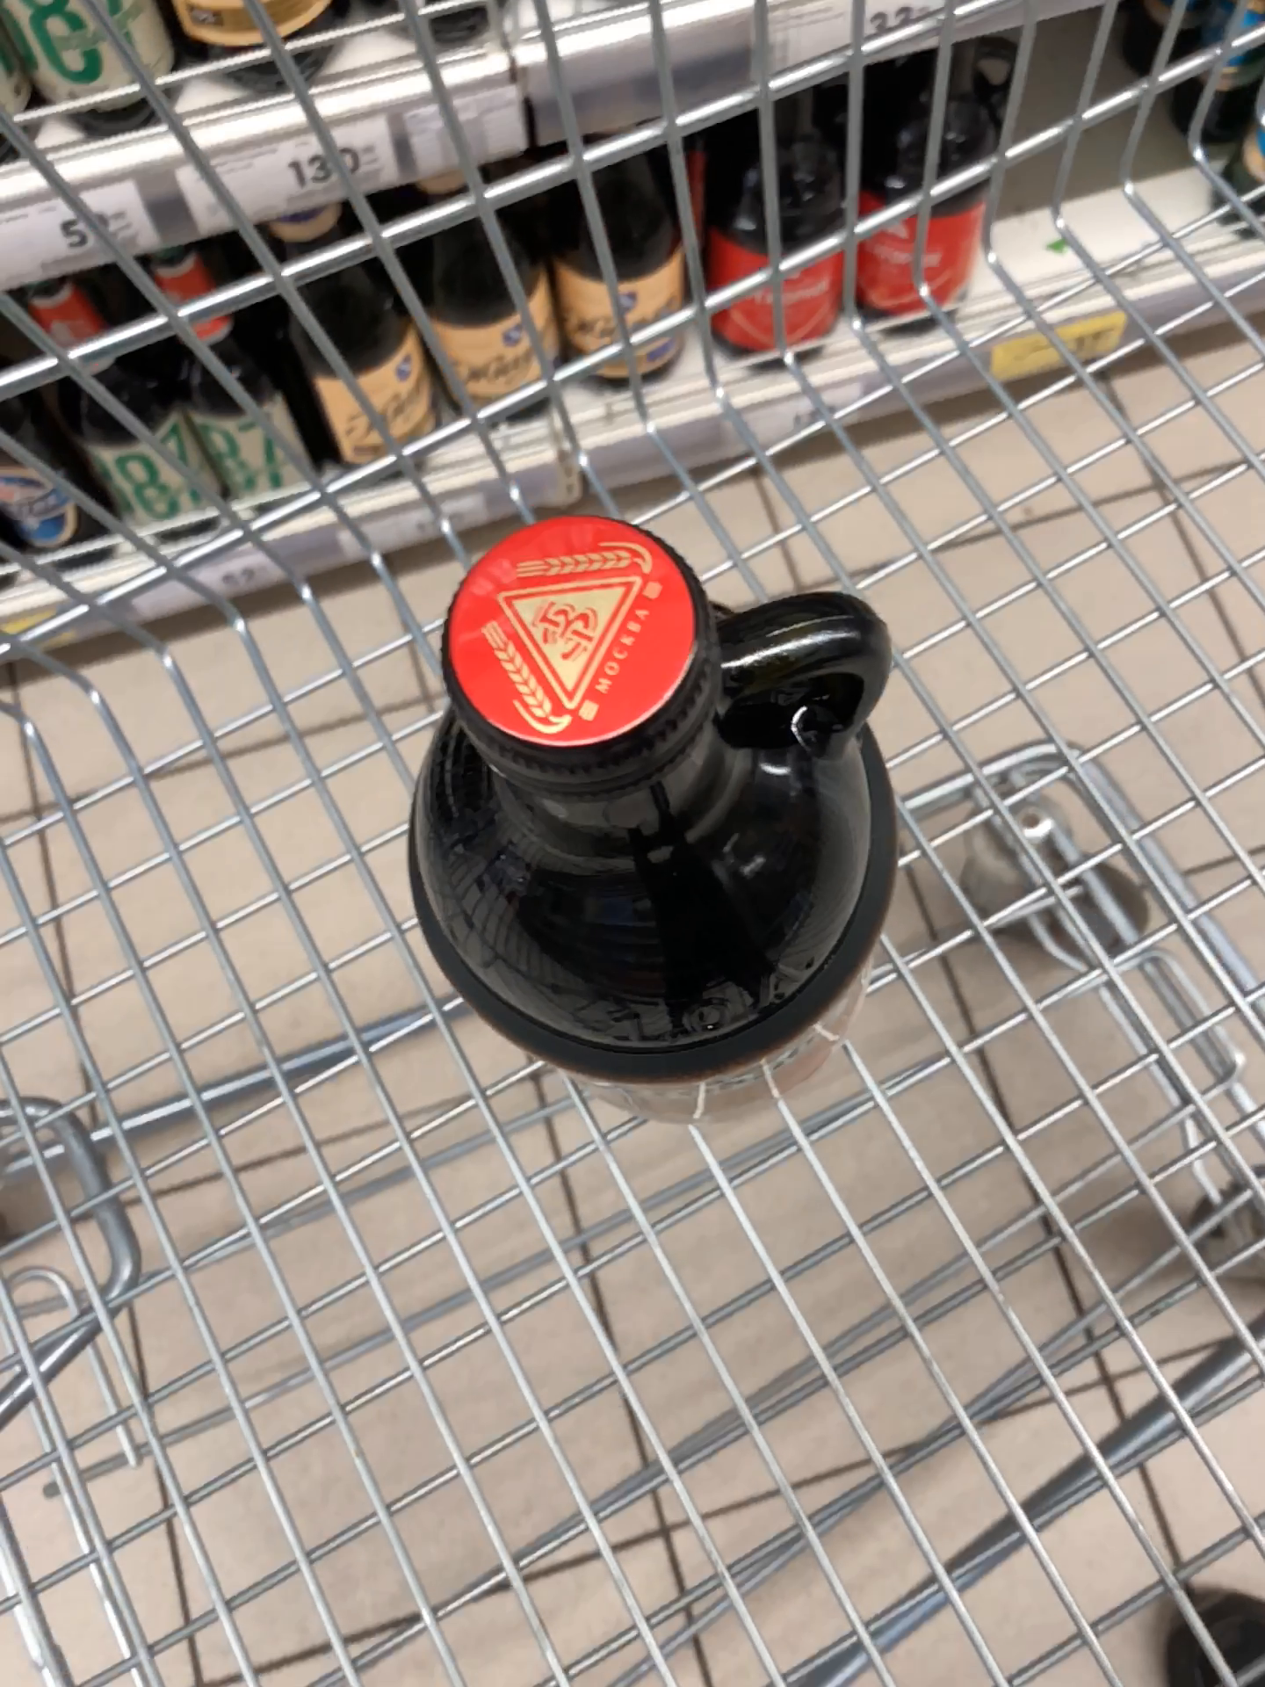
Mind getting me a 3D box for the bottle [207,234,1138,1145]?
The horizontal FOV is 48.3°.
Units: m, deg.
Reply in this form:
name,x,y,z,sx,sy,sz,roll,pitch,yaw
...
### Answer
name,x,y,z,sx,sy,sz,roll,pitch,yaw
bottle,0.011,-0.001,0.291,0.110,0.230,0.100,-1,72,3
